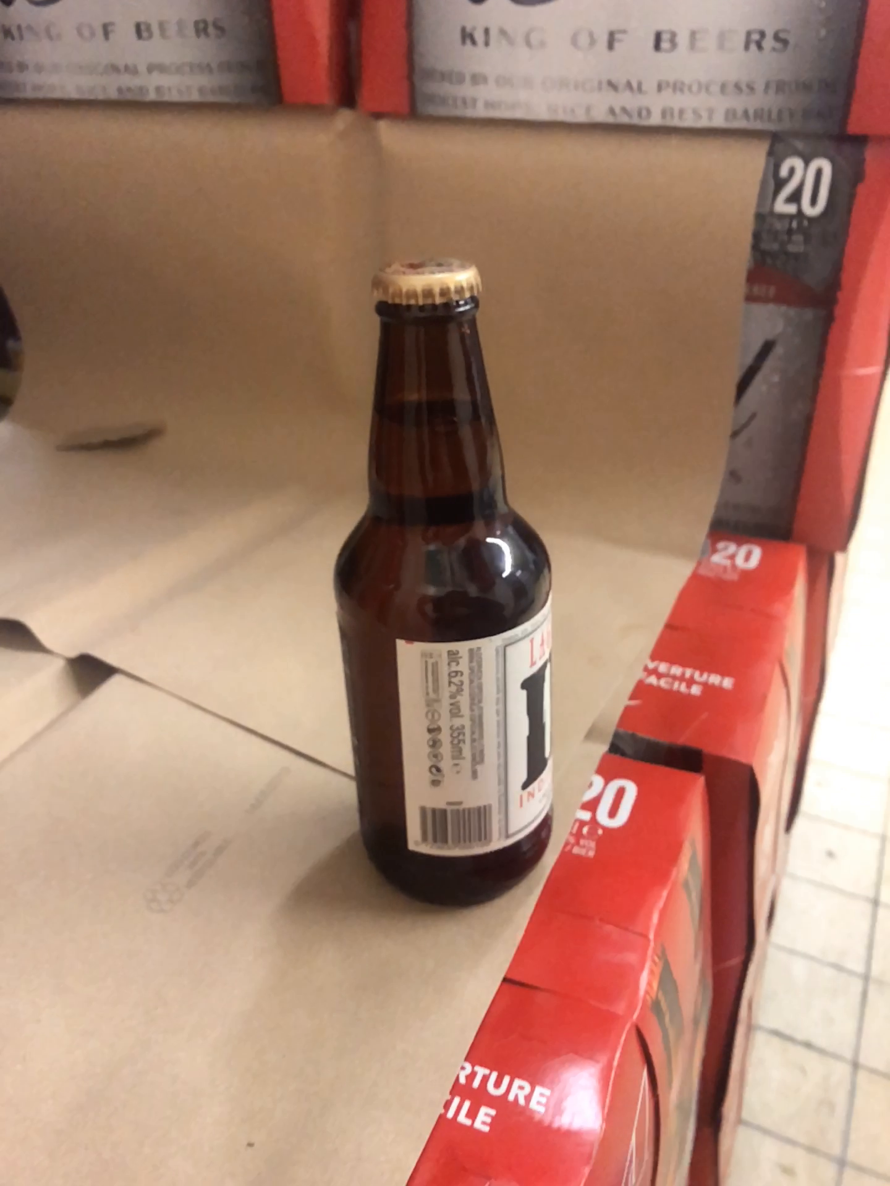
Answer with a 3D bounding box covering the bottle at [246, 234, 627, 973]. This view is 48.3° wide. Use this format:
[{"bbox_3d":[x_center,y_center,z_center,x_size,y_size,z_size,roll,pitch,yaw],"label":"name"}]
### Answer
[{"bbox_3d":[-0.006,0.006,0.290,0.080,0.199,0.080,1,29,0],"label":"bottle"}]
